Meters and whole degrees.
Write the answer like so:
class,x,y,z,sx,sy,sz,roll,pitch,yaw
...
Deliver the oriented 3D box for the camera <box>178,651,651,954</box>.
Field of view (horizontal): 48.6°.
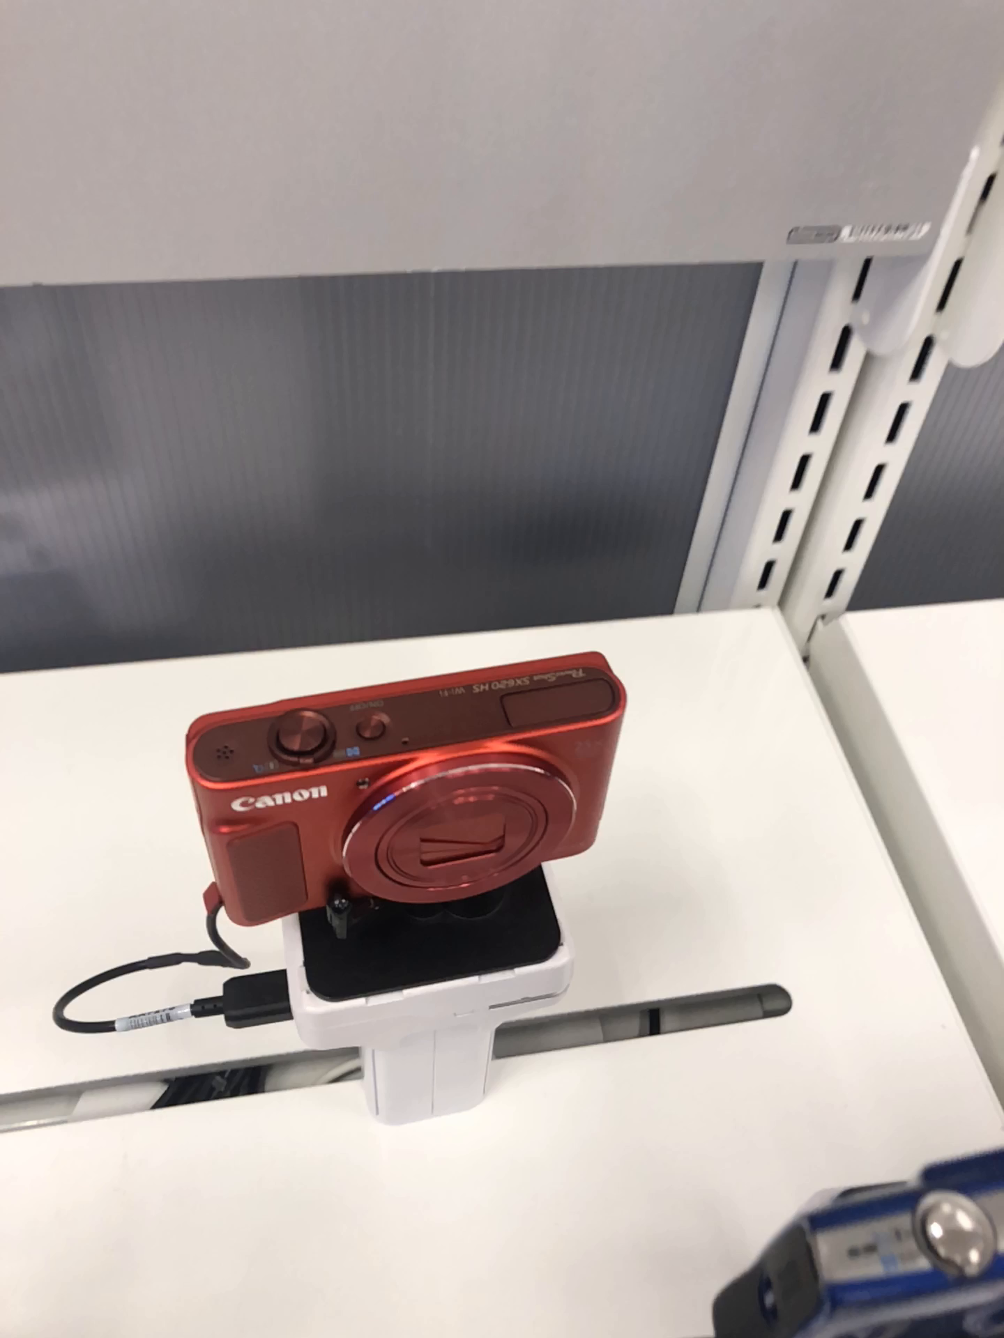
class,x,y,z,sx,sy,sz,roll,pitch,yaw
camera,-0.020,0.031,0.254,0.096,0.053,0.028,-9,50,-12
